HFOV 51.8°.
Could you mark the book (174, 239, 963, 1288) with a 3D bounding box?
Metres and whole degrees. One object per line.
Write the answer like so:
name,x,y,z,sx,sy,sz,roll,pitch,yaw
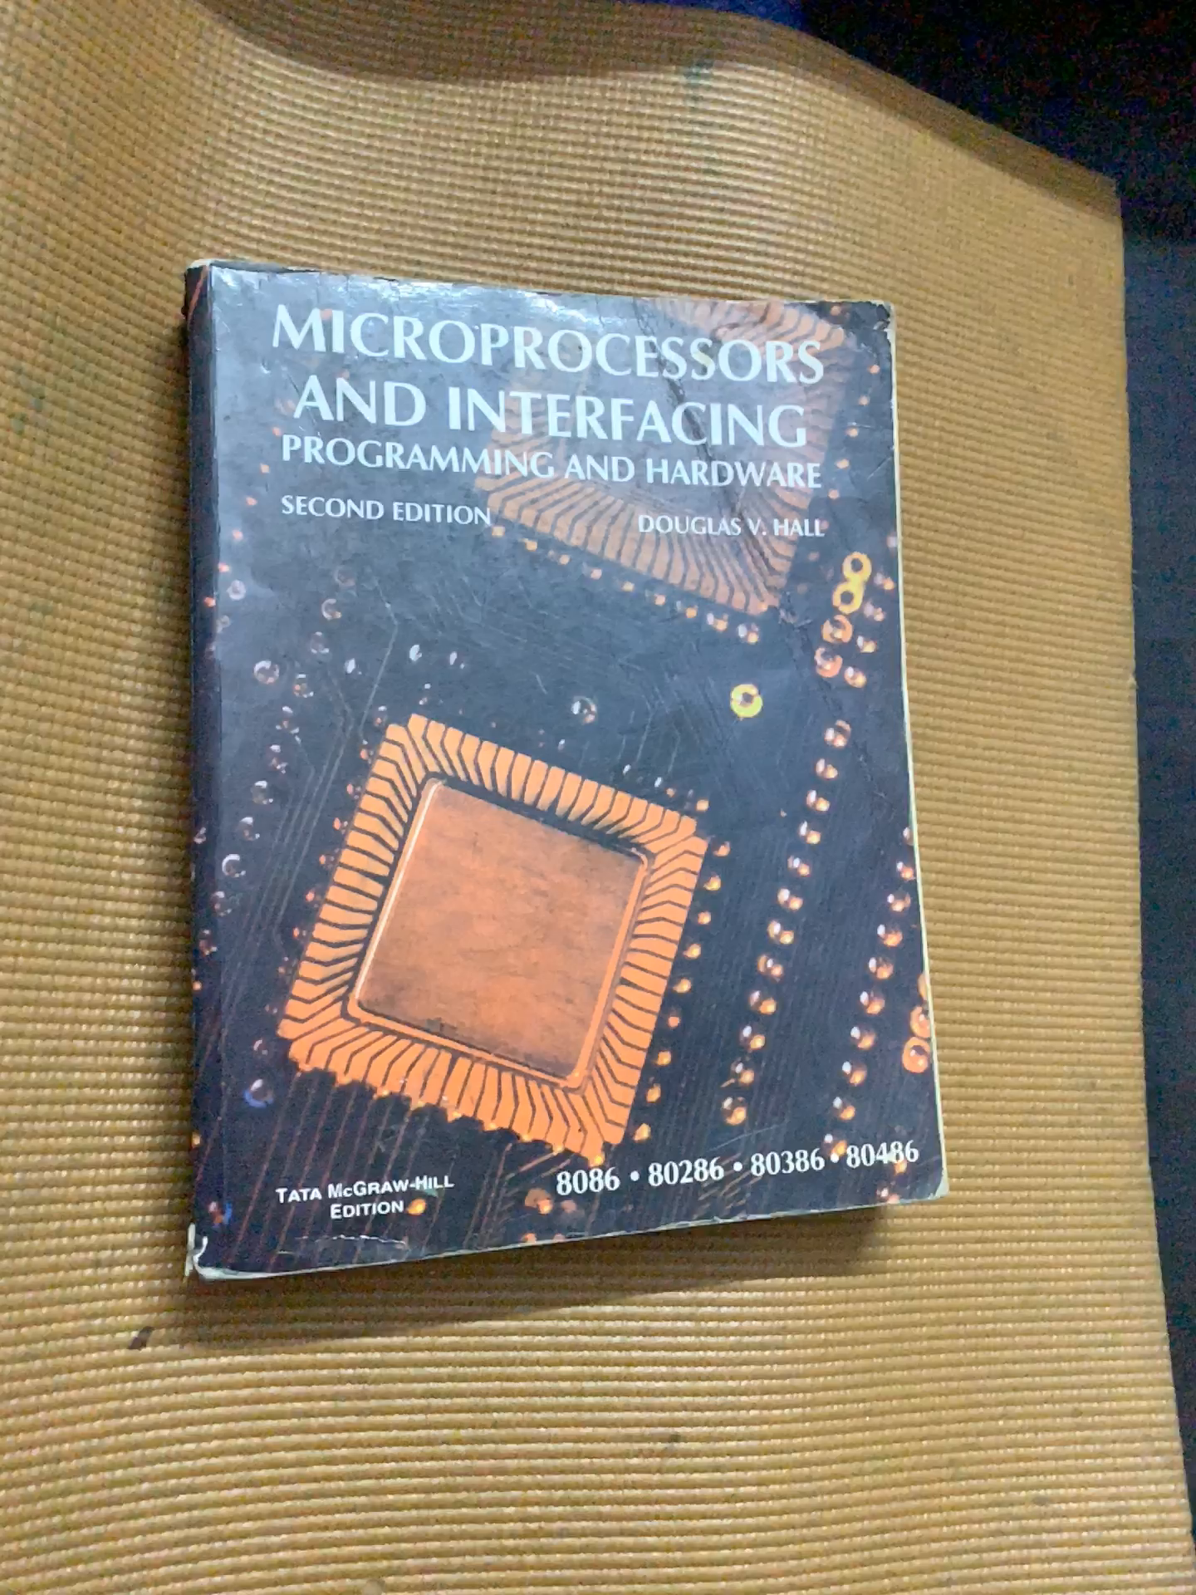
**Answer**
book,-0.012,-0.017,0.449,0.259,0.060,0.339,0,83,-12
